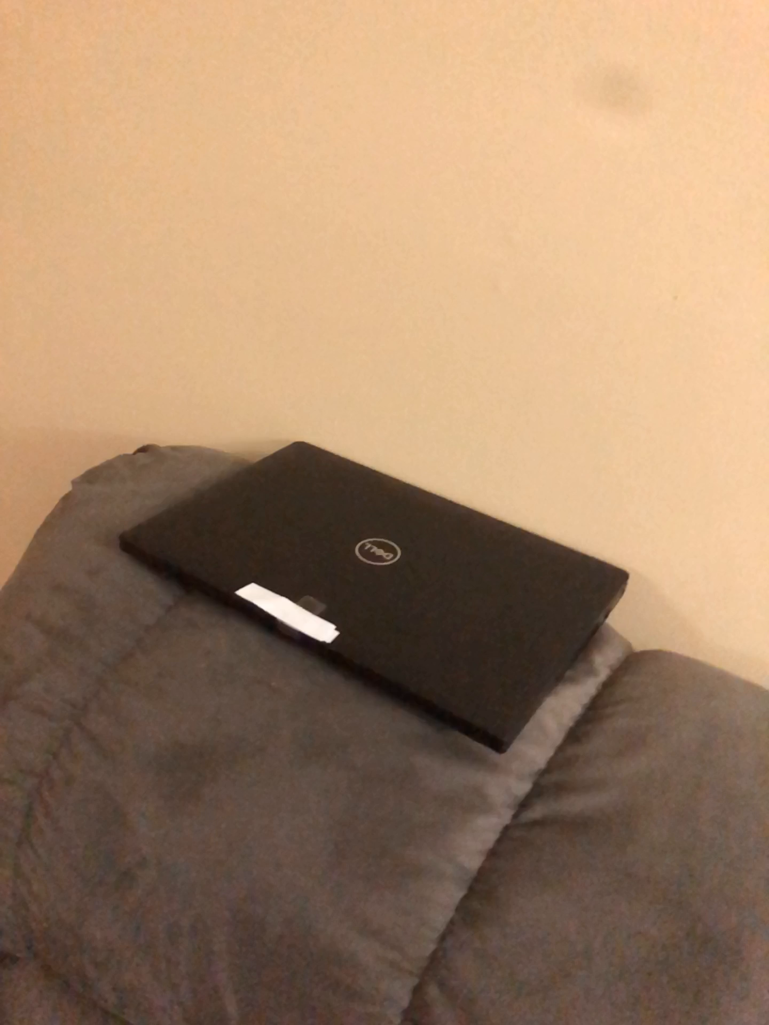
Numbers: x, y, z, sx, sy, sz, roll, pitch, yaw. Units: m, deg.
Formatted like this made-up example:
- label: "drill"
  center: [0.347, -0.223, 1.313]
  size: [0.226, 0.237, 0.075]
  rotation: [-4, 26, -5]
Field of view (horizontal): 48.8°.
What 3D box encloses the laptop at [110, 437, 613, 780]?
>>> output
- label: "laptop"
  center: [-0.019, 0.043, 0.650]
  size: [0.326, 0.030, 0.215]
  rotation: [23, 35, 27]
